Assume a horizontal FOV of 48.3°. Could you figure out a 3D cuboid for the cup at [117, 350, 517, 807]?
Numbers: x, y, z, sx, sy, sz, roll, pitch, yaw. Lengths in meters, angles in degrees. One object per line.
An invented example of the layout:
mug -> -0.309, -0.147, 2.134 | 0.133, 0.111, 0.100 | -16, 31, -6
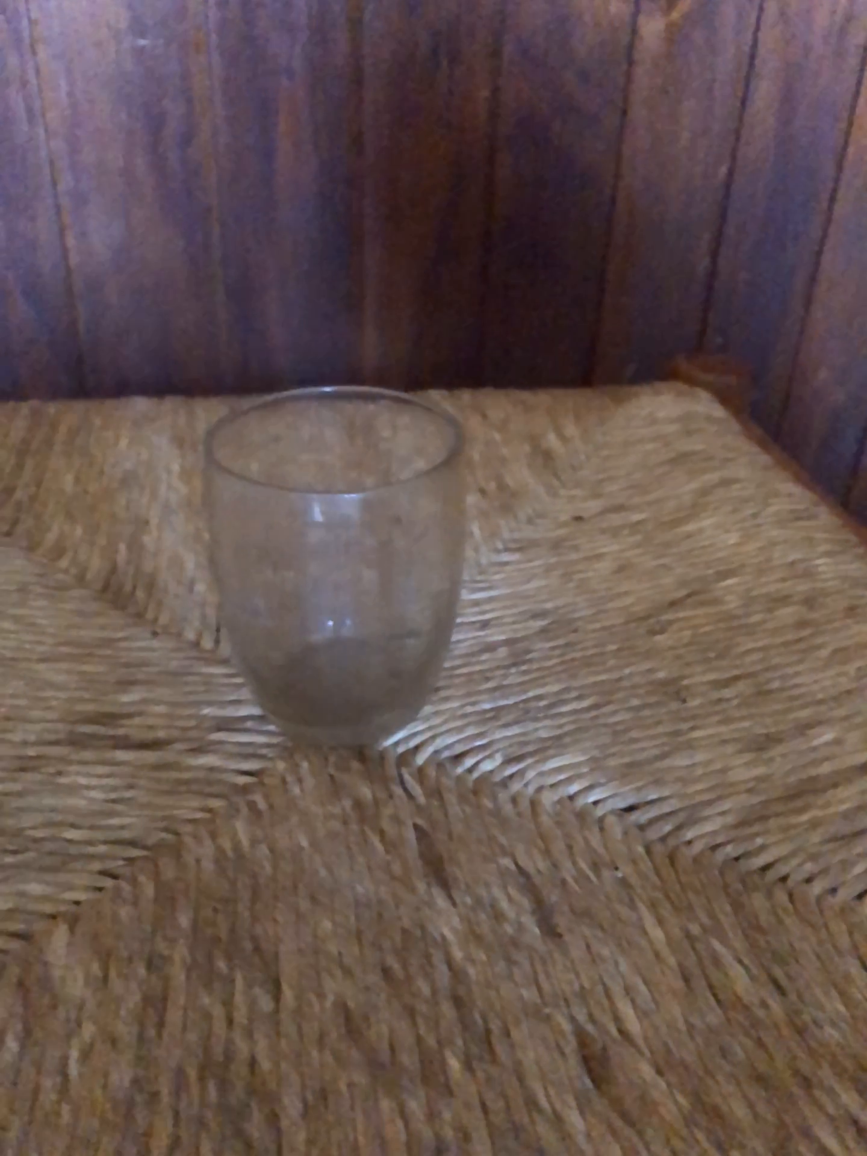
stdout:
cup -> -0.025, -0.004, 0.246 | 0.070, 0.079, 0.071 | 2, 32, -1
